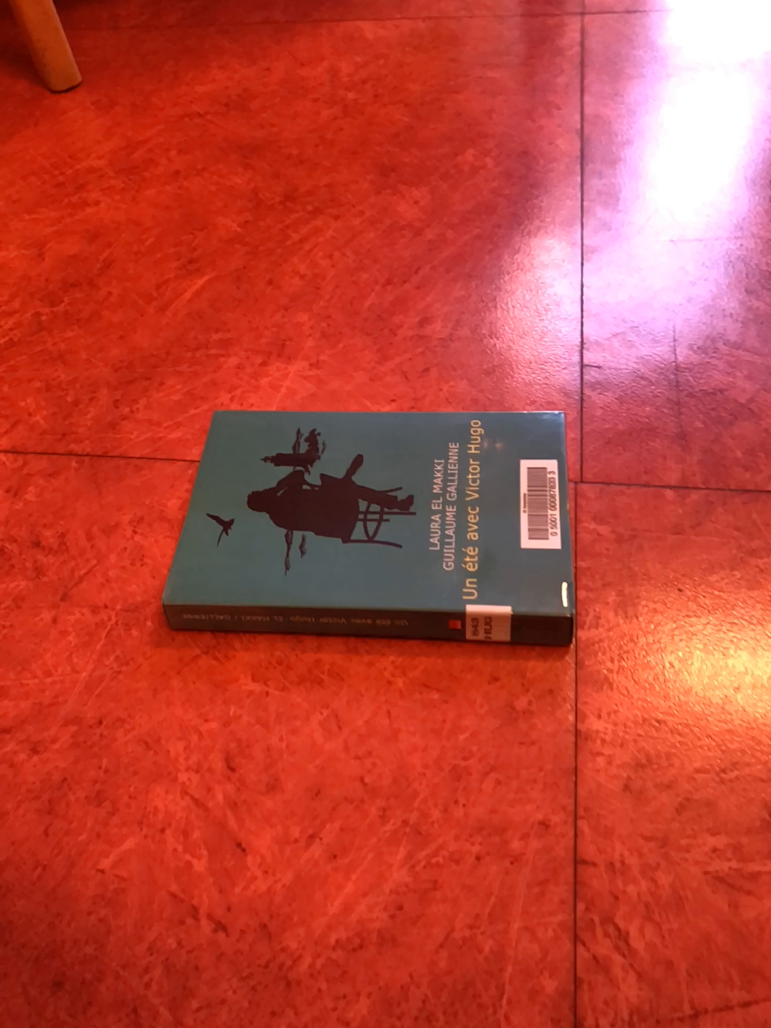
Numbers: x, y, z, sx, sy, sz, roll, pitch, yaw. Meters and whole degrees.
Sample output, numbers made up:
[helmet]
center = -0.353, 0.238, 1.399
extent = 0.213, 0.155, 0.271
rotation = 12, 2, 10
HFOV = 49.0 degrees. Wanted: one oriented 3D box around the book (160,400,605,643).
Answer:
[book]
center = 0.002, -0.001, 0.361
extent = 0.170, 0.020, 0.111
rotation = 1, 53, 8
